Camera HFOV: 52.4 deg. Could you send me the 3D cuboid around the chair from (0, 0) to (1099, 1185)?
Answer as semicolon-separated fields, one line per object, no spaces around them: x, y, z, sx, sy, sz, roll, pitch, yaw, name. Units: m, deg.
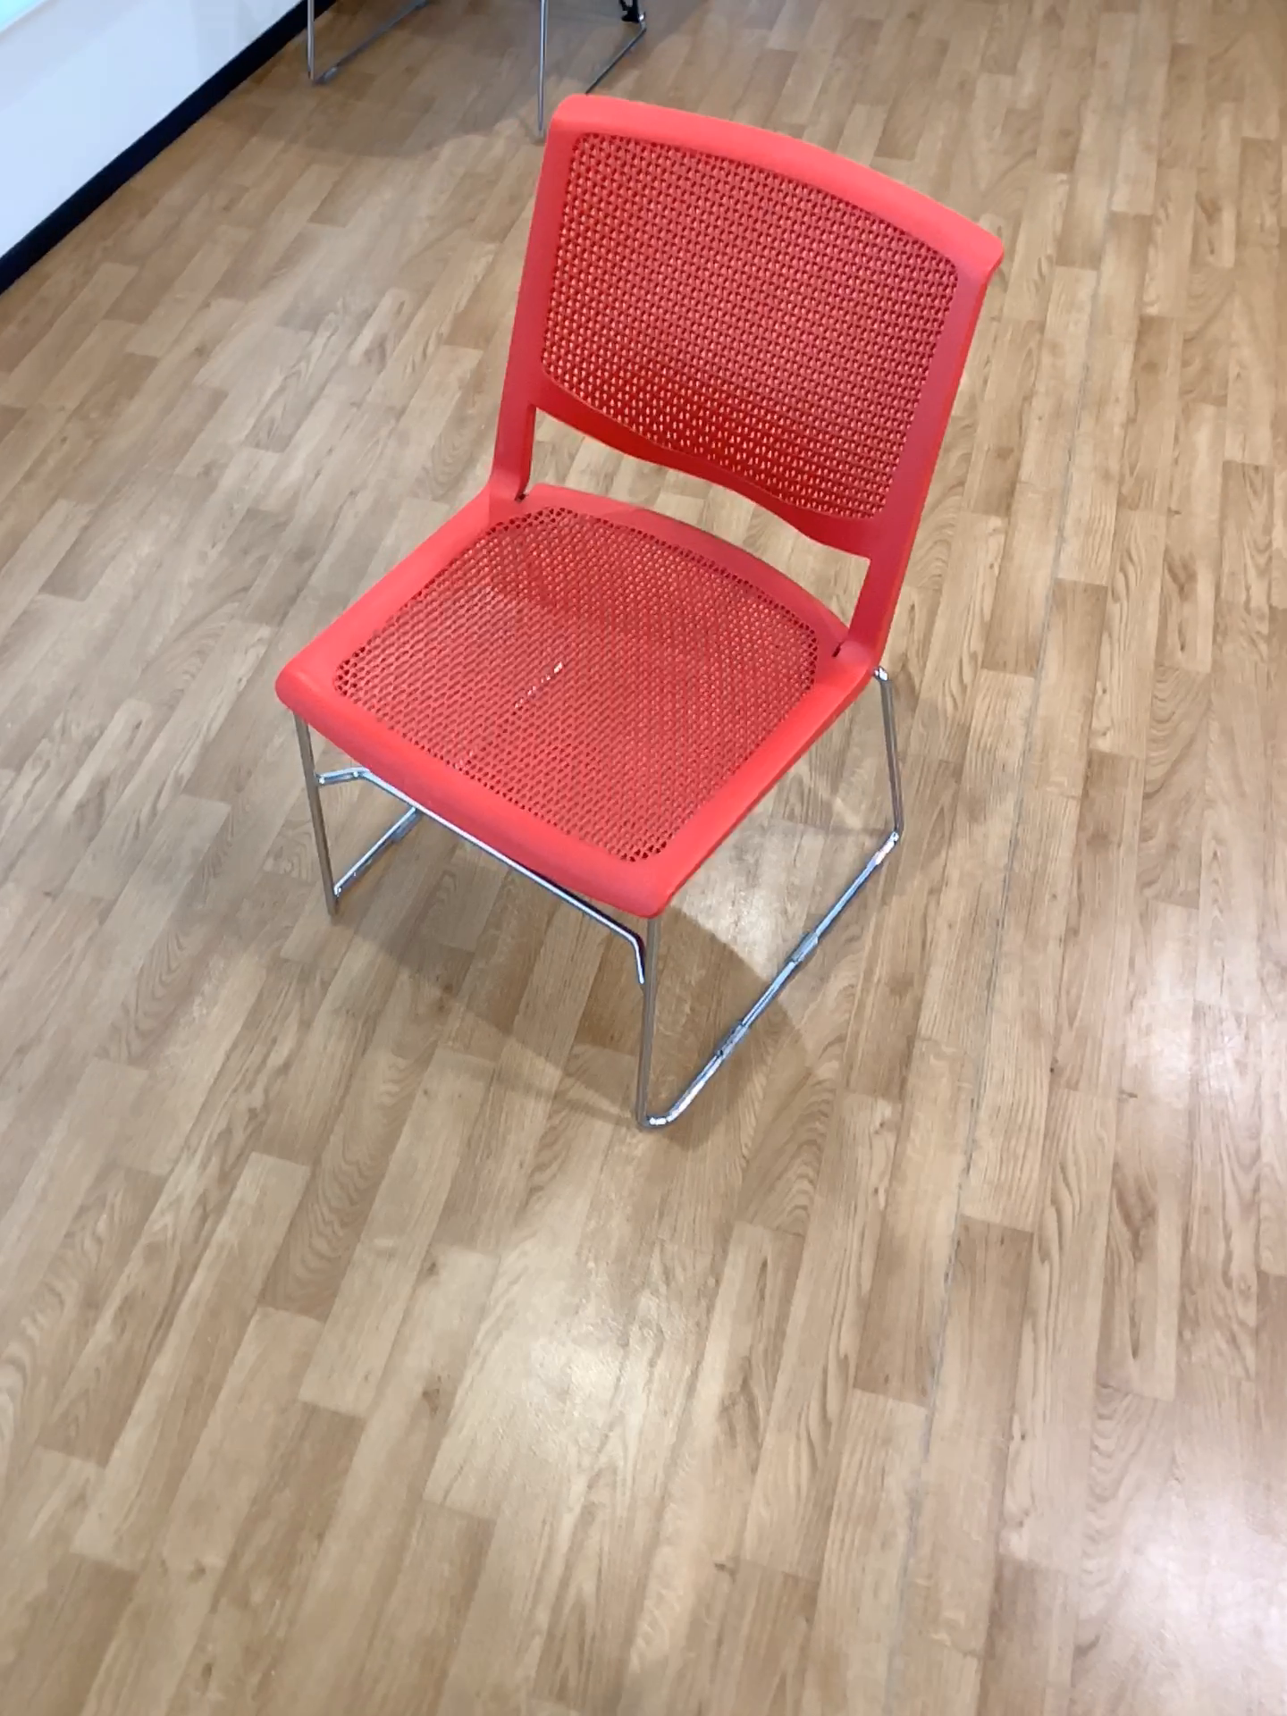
-0.076;-0.223;1.213;0.601;0.705;0.593;29;61;19;chair
